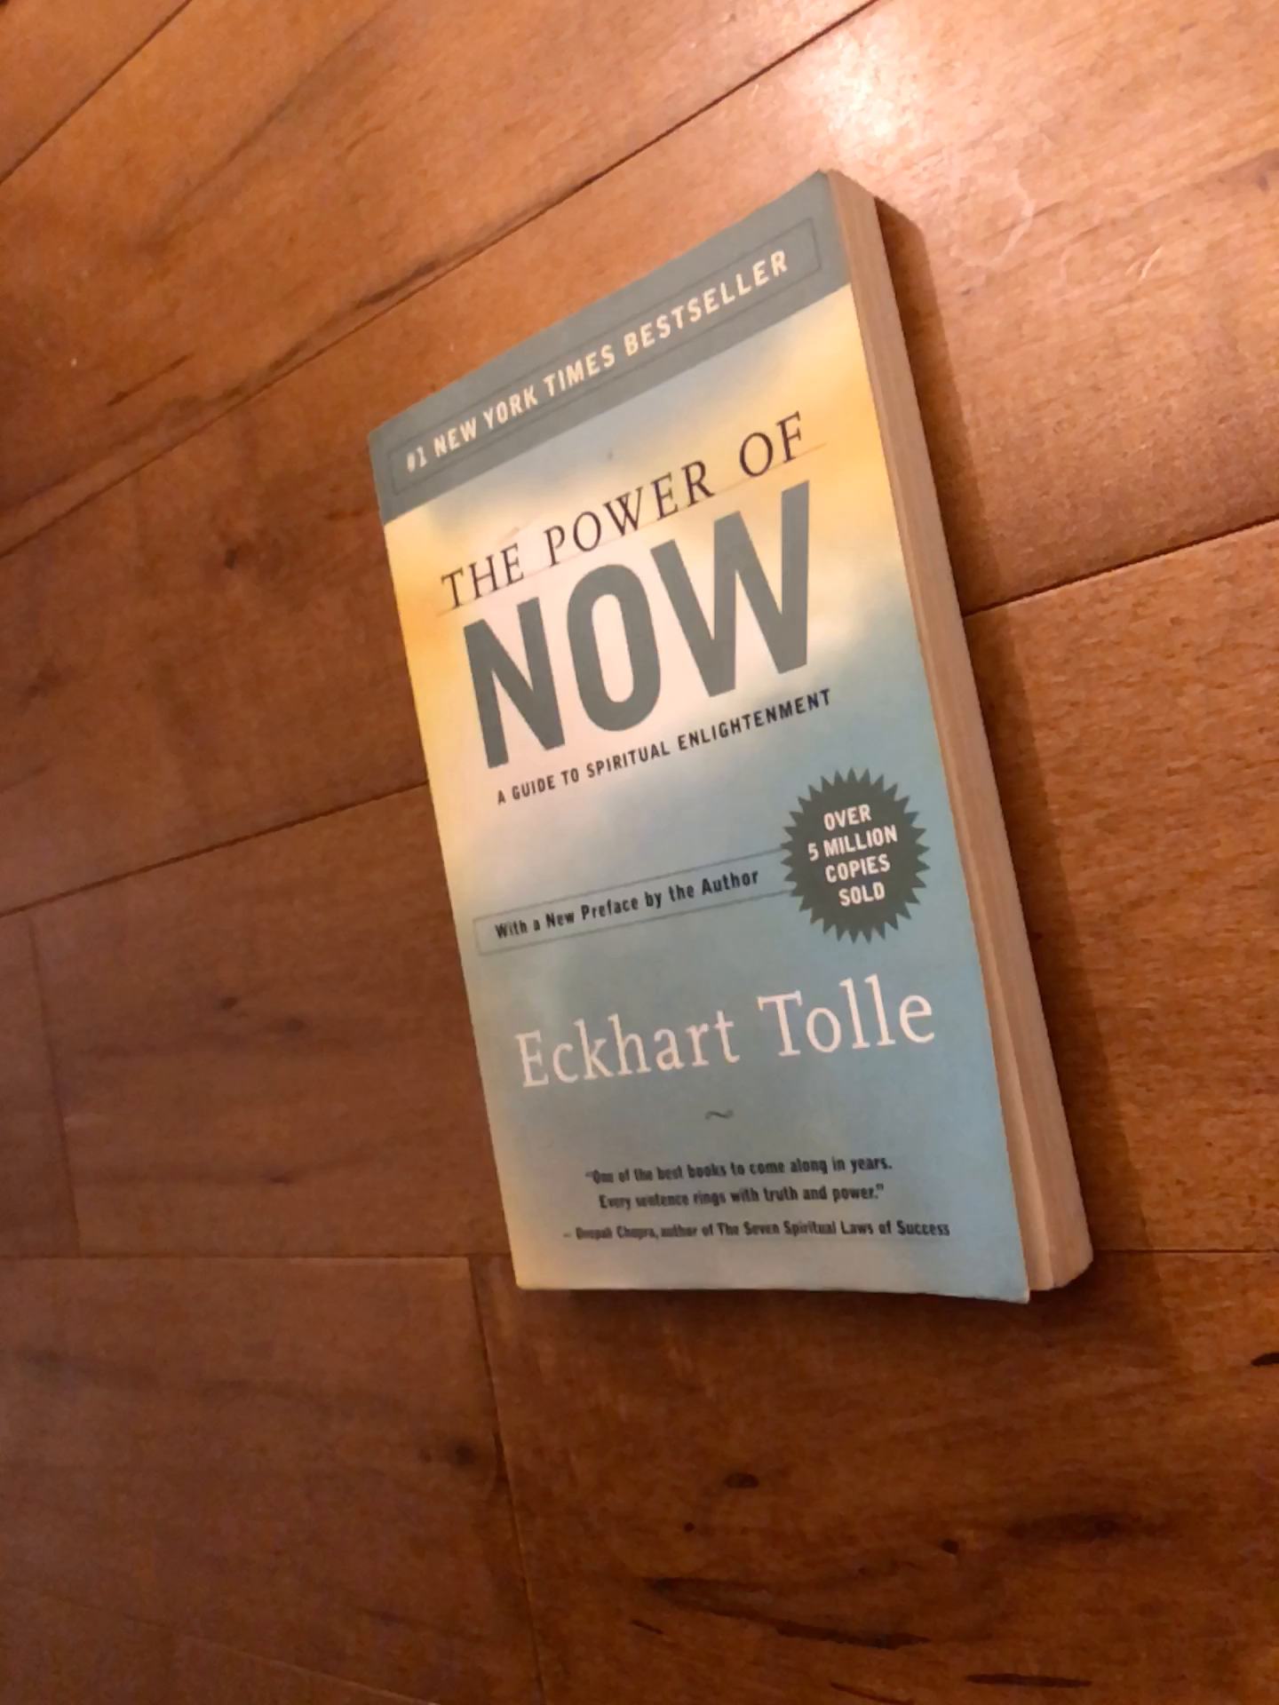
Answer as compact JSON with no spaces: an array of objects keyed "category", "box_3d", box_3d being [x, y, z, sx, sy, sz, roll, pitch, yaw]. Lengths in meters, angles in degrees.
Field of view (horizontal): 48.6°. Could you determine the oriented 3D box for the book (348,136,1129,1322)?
[{"category":"book","box_3d":[0.010,-0.013,0.315,0.147,0.030,0.222,-14,83,39]}]
